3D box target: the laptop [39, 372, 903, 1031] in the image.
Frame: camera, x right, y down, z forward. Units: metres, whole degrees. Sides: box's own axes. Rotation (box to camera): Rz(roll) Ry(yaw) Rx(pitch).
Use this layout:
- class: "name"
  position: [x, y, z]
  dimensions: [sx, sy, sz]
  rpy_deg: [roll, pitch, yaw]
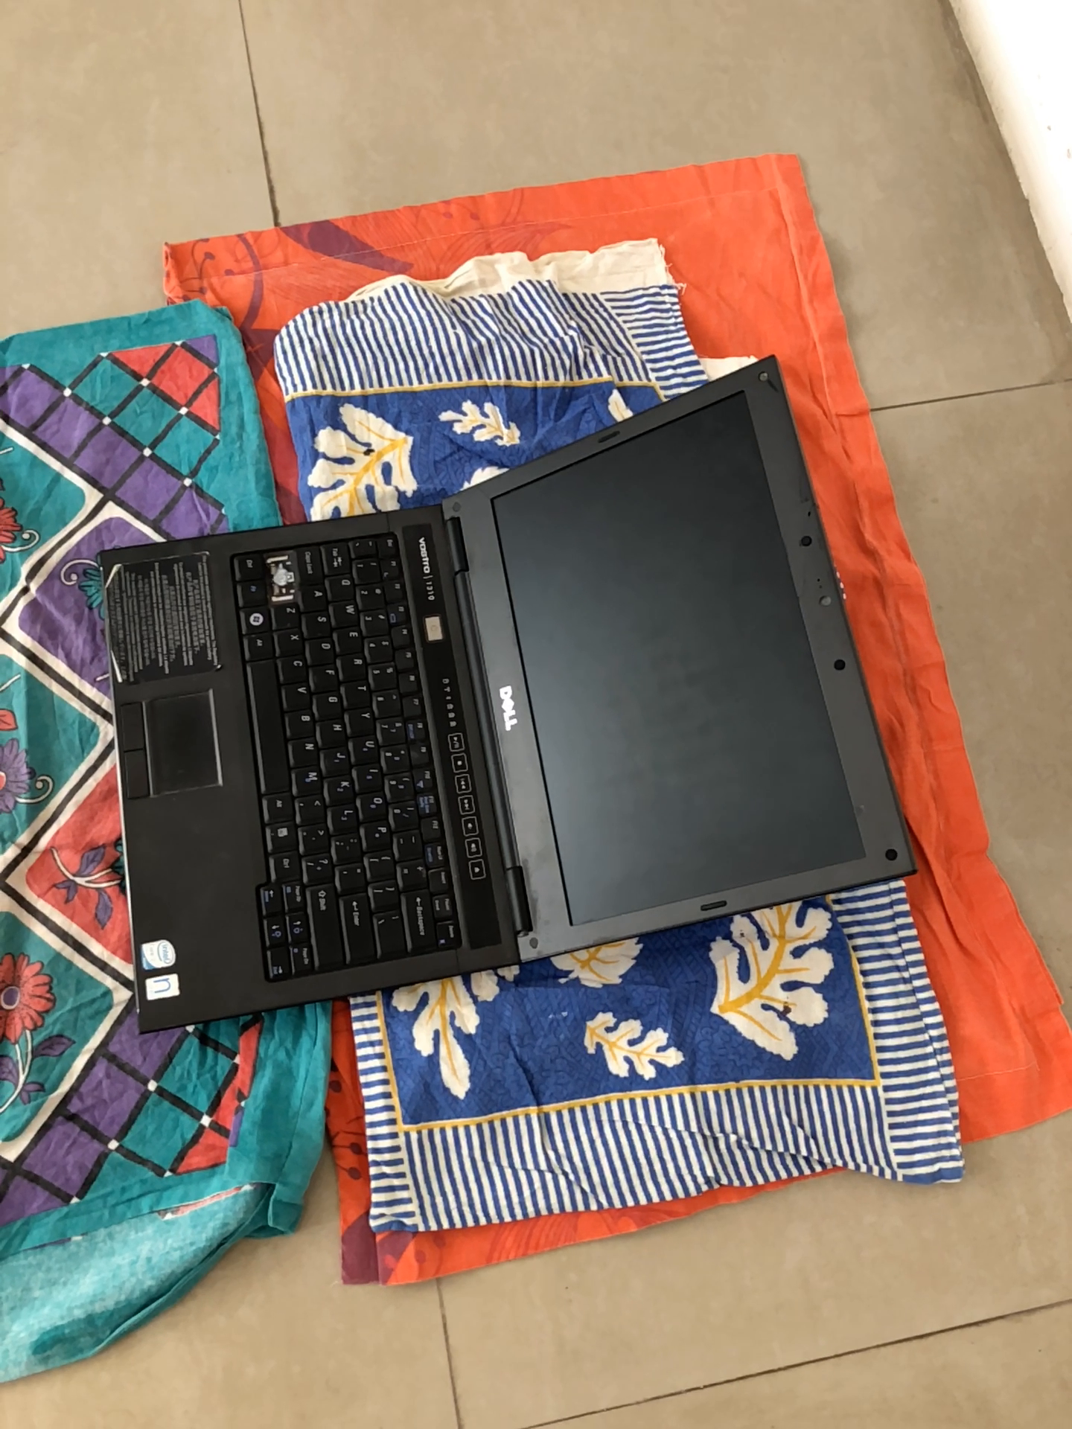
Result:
- class: "laptop"
  position: [-0.044, -0.011, 0.694]
  dimensions: [0.420, 0.125, 0.306]
  rpy_deg: [-9, 73, -7]
